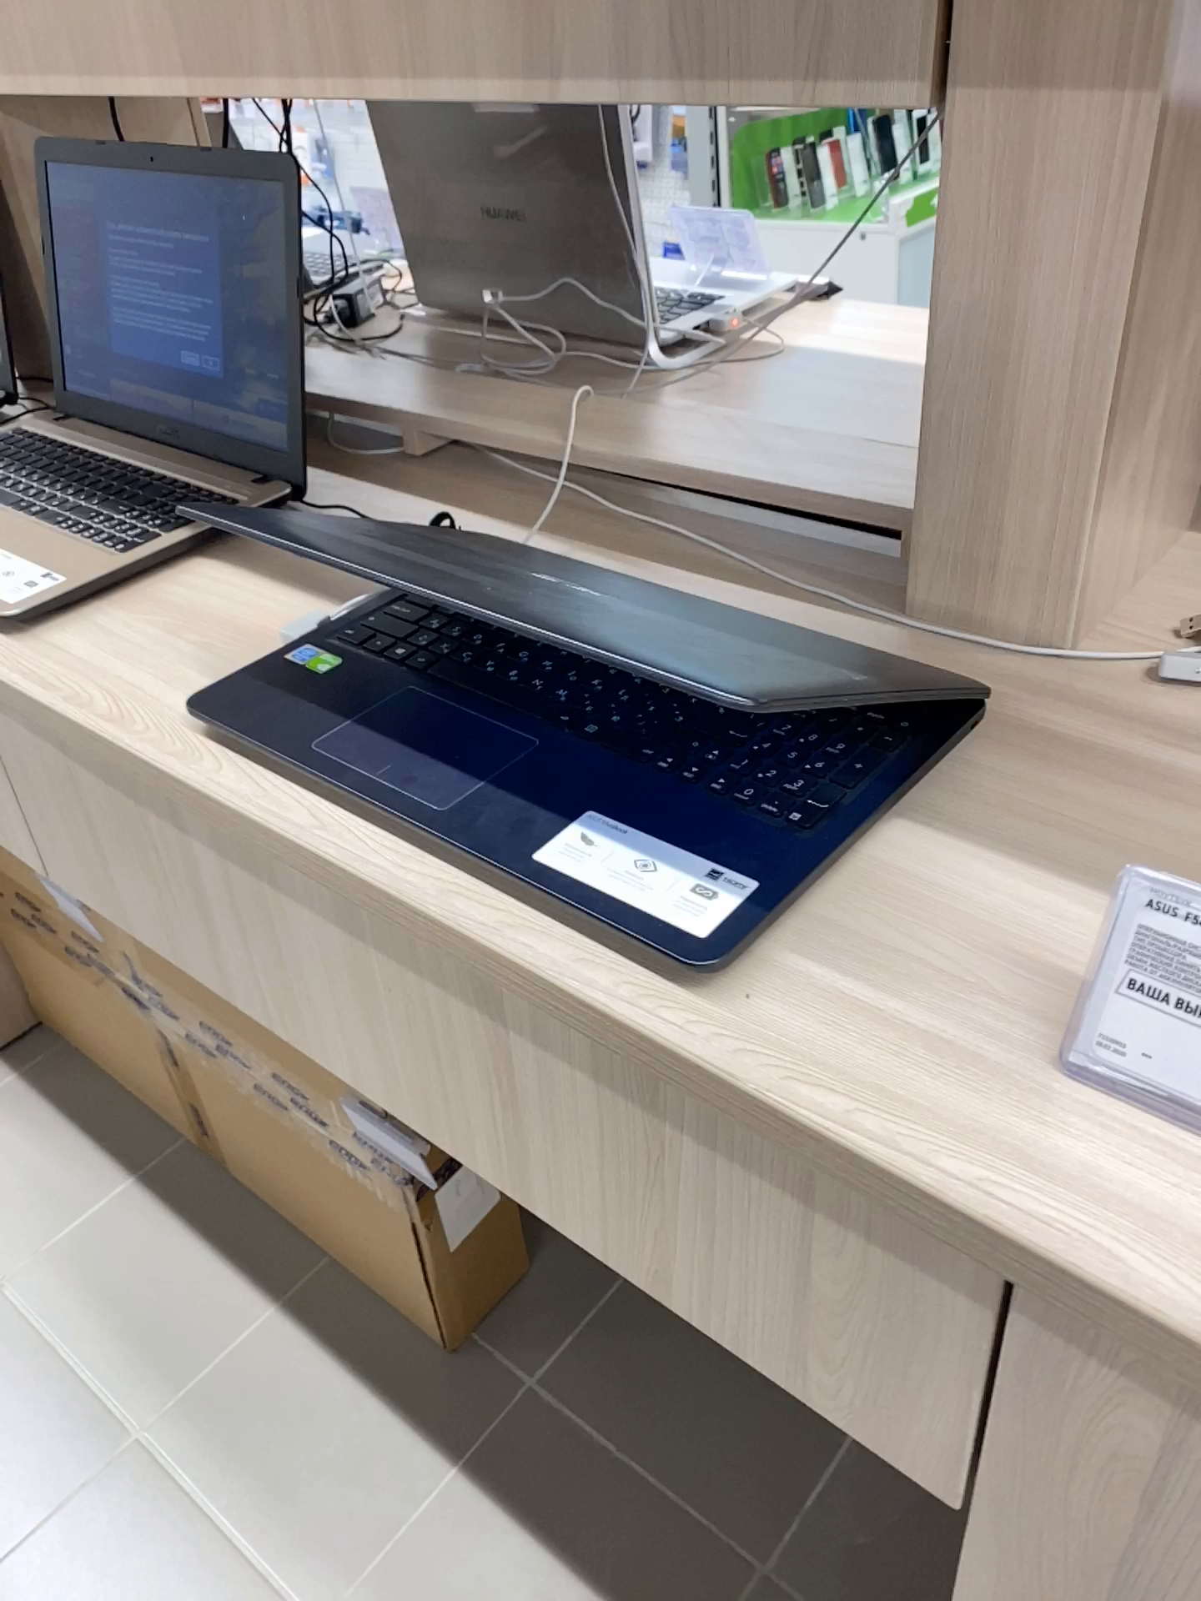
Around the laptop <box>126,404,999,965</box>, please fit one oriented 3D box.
[{"bbox_3d":[-0.030,-0.096,0.648,0.387,0.098,0.236,24,45,35],"label":"laptop"}]
